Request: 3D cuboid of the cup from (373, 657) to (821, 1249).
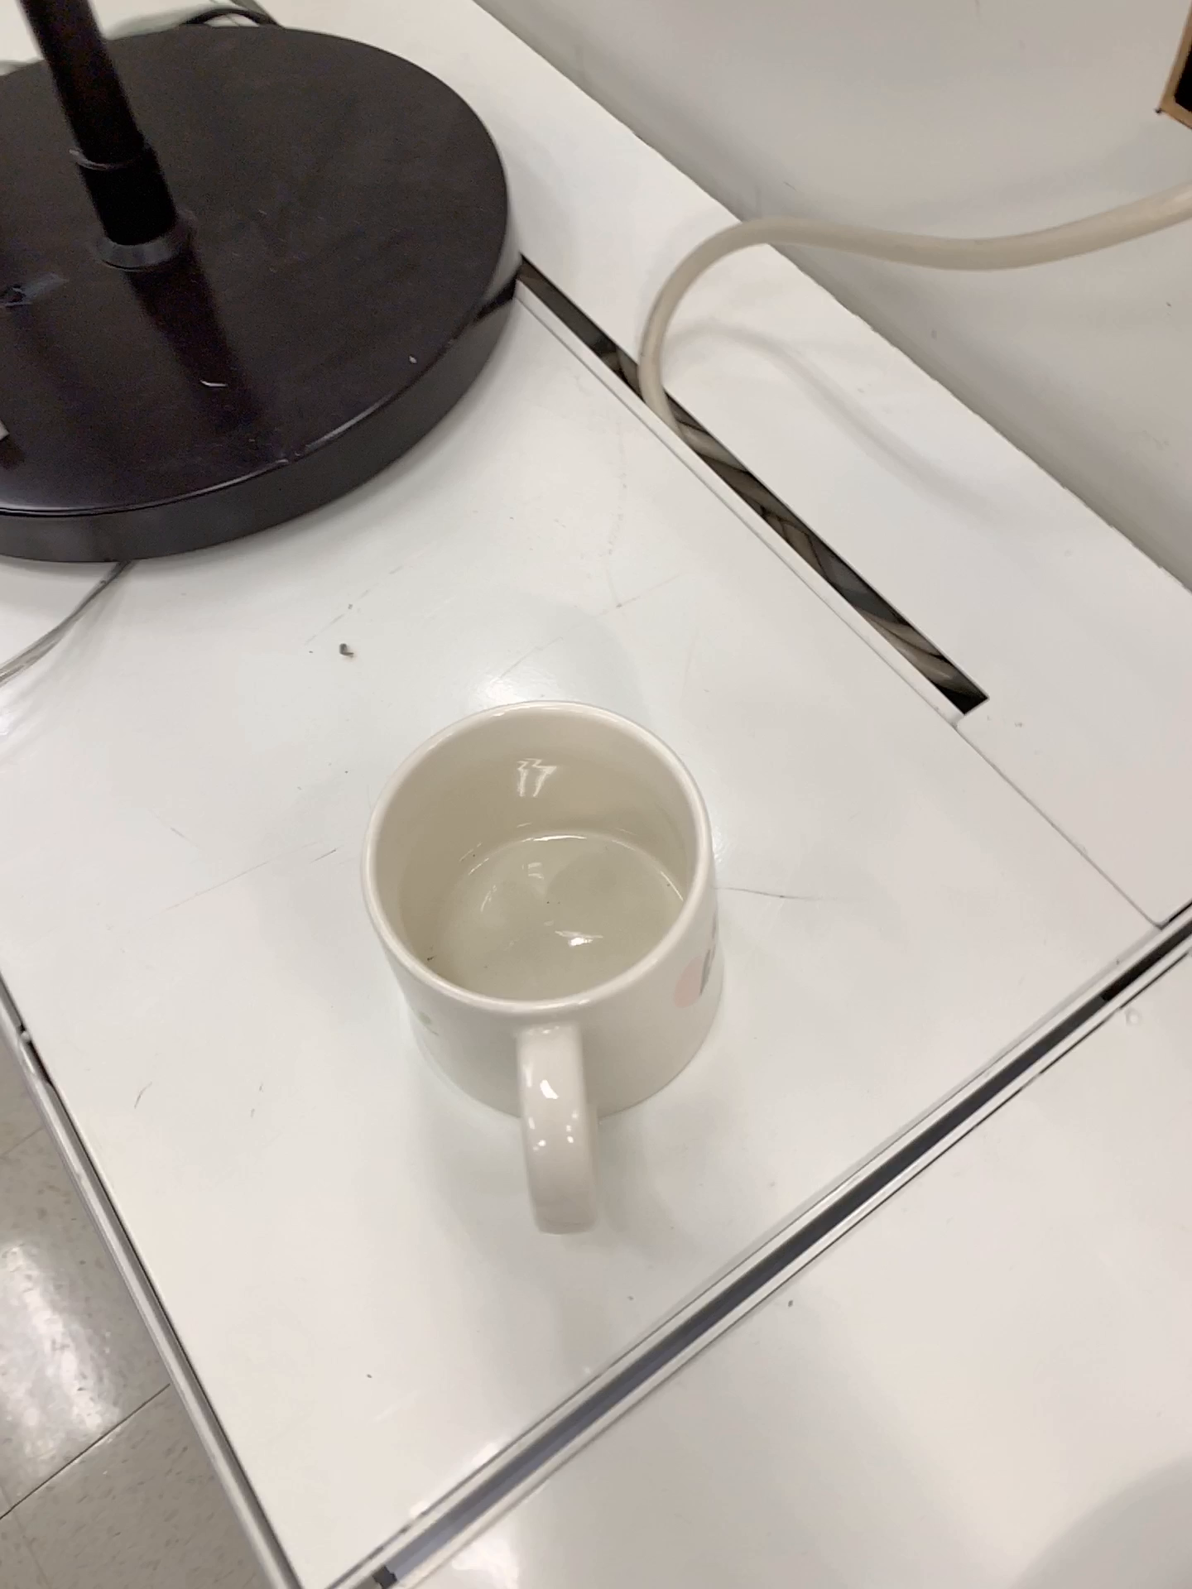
[{"bbox_3d":[0.000,0.049,0.361,0.104,0.097,0.140,-5,60,3],"label":"cup"}]
